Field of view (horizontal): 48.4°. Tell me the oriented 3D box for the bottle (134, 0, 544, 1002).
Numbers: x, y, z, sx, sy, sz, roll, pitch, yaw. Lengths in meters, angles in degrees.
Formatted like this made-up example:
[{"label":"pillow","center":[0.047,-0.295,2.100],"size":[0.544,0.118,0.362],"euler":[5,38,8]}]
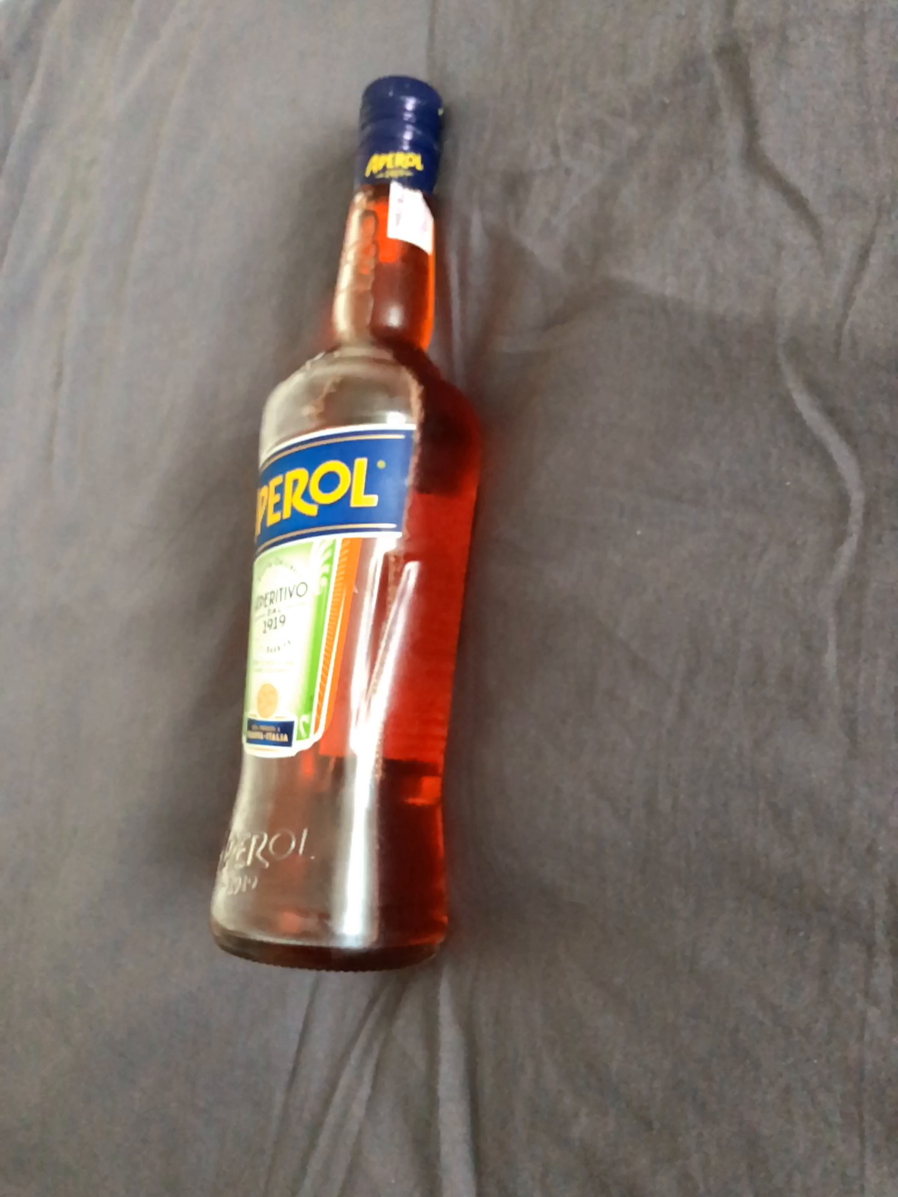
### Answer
[{"label":"bottle","center":[-0.037,-0.044,0.347],"size":[0.101,0.070,0.320],"euler":[-4,79,47]}]
